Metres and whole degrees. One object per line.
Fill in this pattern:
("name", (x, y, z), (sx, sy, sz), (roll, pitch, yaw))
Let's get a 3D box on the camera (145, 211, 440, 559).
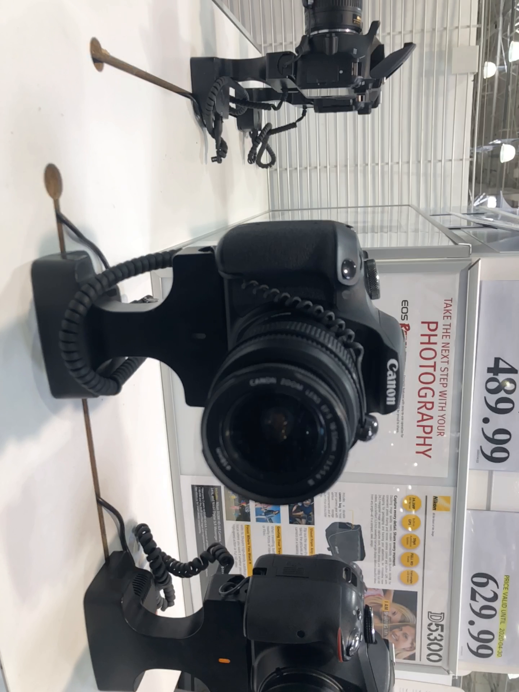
("camera", (0.026, 0.005, 0.303), (0.150, 0.110, 0.130), (-65, 154, -68))
